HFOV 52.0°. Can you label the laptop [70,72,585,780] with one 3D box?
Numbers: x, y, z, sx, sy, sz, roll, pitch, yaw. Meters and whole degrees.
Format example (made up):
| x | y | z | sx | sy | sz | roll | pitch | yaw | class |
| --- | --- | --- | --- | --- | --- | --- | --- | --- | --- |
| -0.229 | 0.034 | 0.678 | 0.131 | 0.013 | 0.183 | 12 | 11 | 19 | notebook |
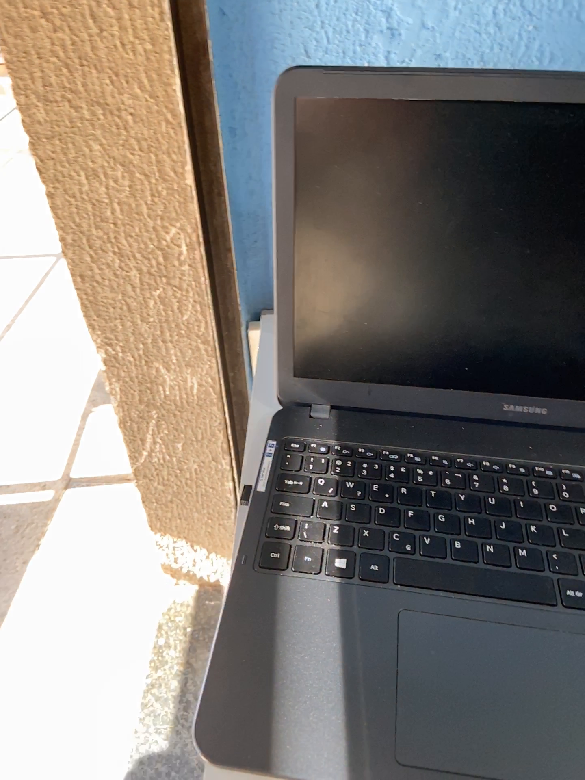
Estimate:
| x | y | z | sx | sy | sz | roll | pitch | yaw | class |
| --- | --- | --- | --- | --- | --- | --- | --- | --- | --- |
| 0.155 | 0.008 | 0.302 | 0.370 | 0.232 | 0.288 | 5 | 41 | 7 | laptop |
